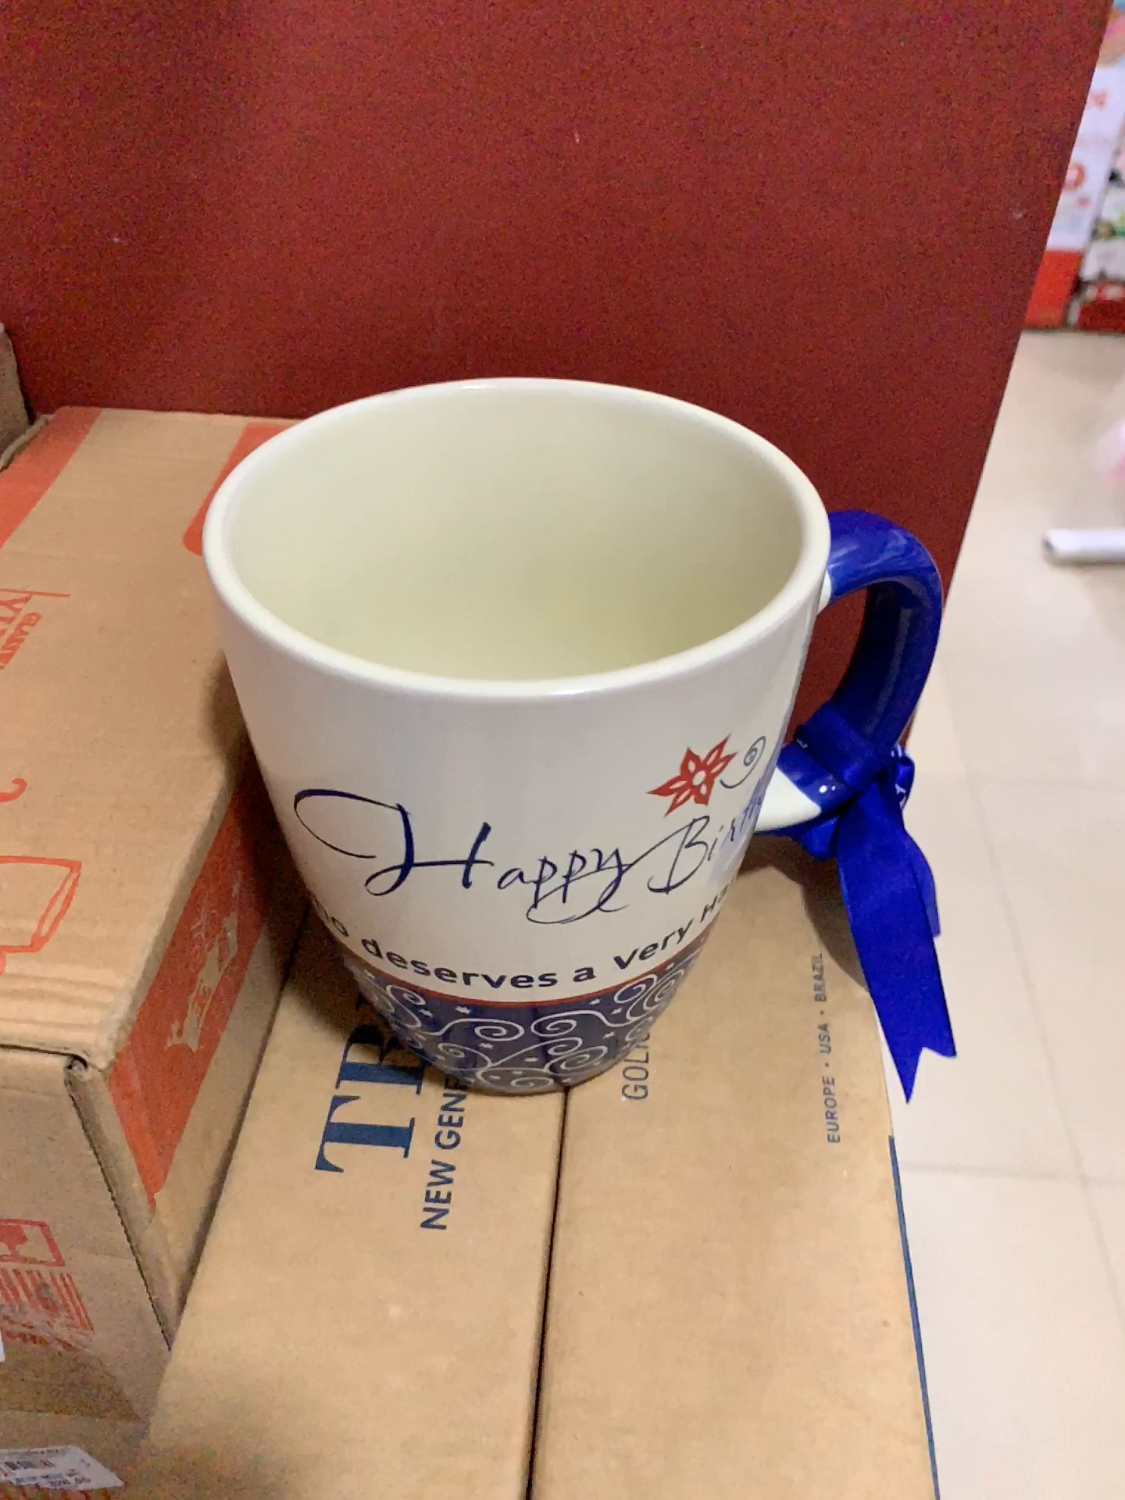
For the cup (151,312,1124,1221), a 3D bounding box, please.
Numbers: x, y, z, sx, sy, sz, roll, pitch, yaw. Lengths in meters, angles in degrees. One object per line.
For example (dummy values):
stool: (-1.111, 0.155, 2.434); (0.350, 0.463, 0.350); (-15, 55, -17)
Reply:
cup: (0.014, -0.007, 0.201); (0.131, 0.086, 0.092); (-16, 43, -19)
